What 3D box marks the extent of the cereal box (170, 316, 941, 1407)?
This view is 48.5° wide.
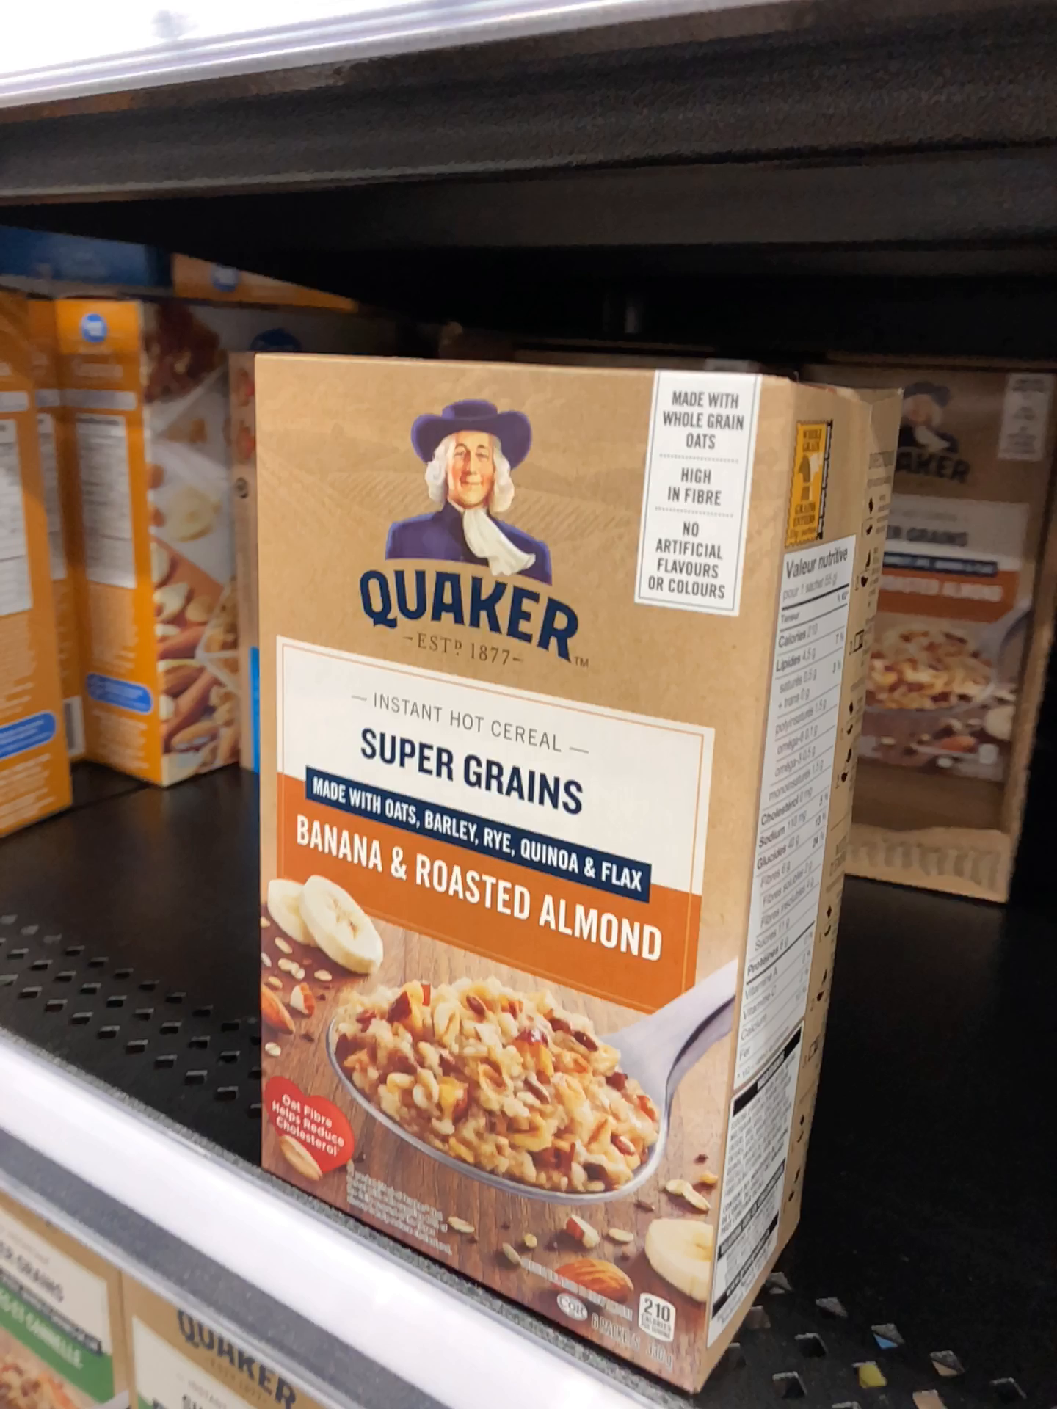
[{"bbox_3d":[0.001,0.019,0.251,0.130,0.189,0.070,12,19,30],"label":"cereal box"}]
